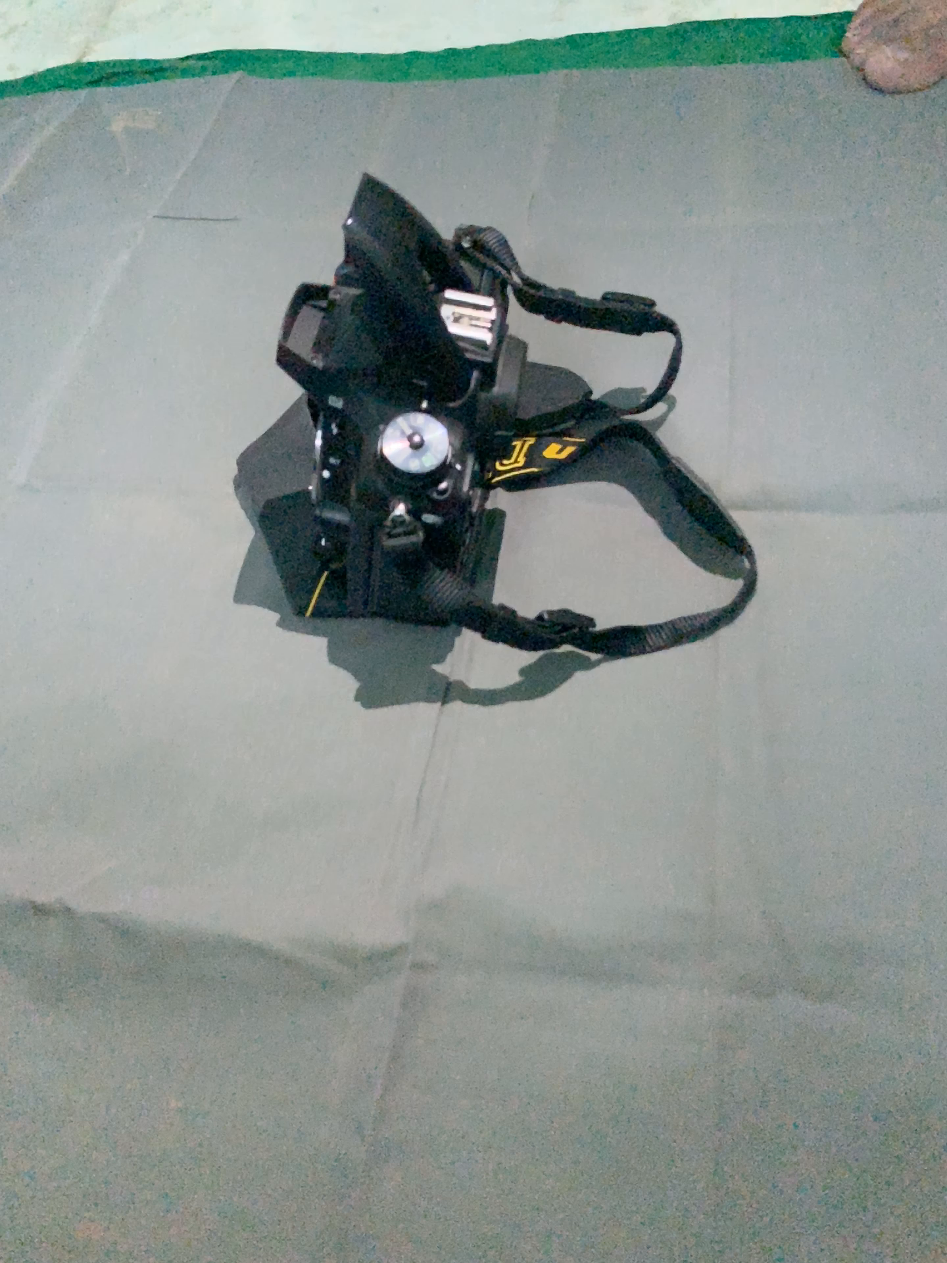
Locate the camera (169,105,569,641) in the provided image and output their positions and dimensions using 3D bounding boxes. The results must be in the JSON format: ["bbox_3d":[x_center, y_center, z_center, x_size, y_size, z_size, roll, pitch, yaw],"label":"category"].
[{"bbox_3d":[-0.026,-0.096,0.362,0.100,0.125,0.140,7,54,6],"label":"camera"}]
